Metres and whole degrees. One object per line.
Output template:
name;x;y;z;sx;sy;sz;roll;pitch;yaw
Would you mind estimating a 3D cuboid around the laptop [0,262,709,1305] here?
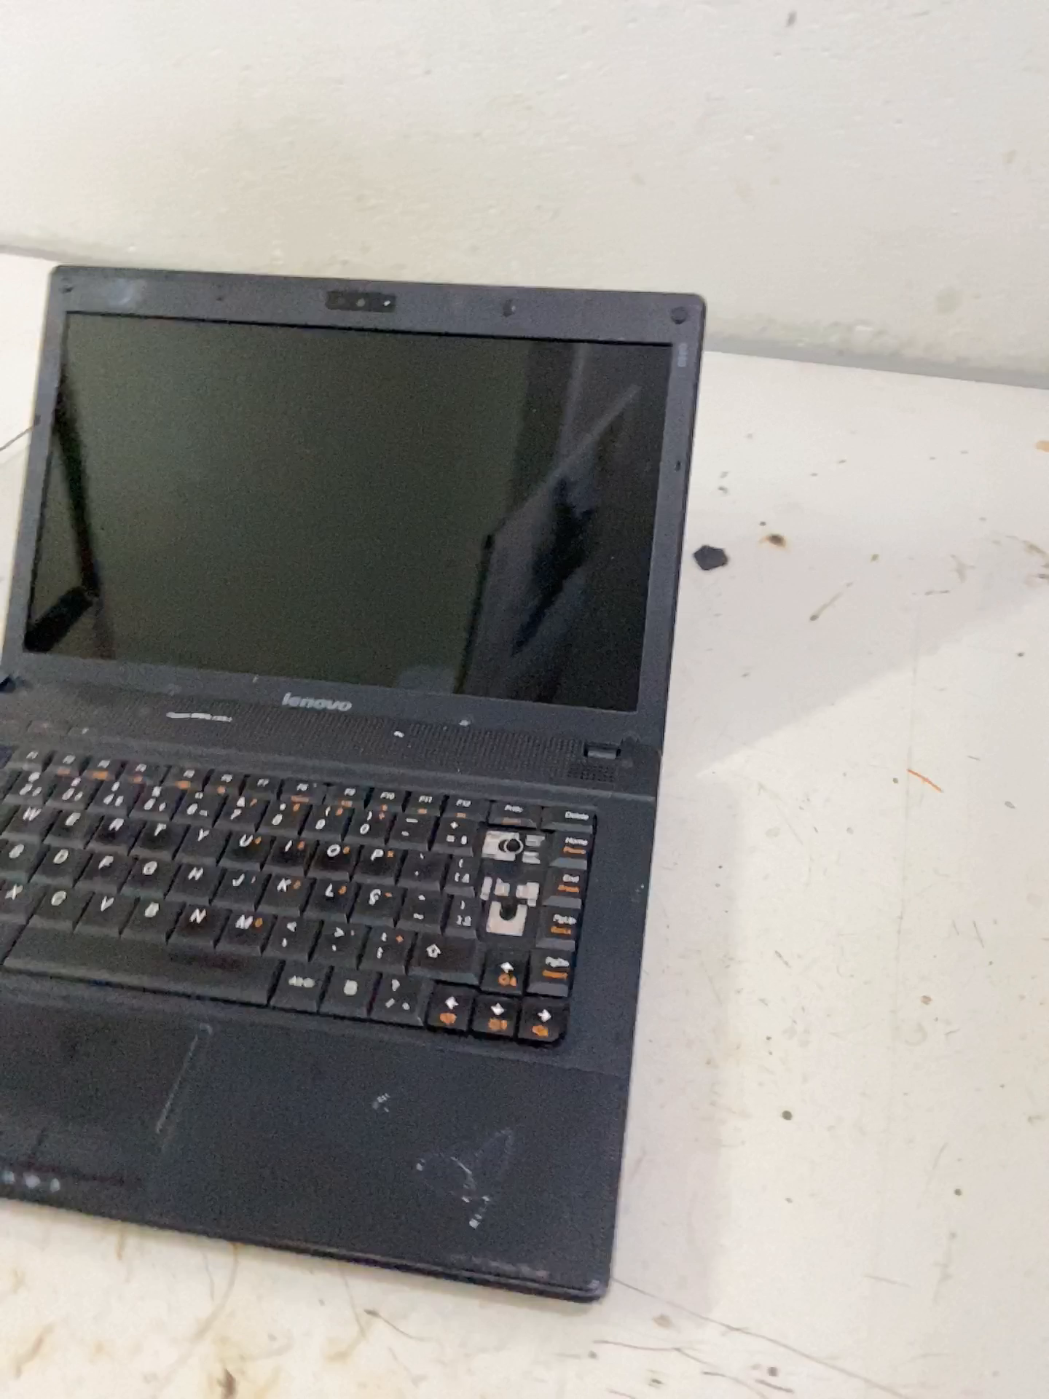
laptop;-0.117;-0.026;0.467;0.357;0.147;0.424;6;43;8
